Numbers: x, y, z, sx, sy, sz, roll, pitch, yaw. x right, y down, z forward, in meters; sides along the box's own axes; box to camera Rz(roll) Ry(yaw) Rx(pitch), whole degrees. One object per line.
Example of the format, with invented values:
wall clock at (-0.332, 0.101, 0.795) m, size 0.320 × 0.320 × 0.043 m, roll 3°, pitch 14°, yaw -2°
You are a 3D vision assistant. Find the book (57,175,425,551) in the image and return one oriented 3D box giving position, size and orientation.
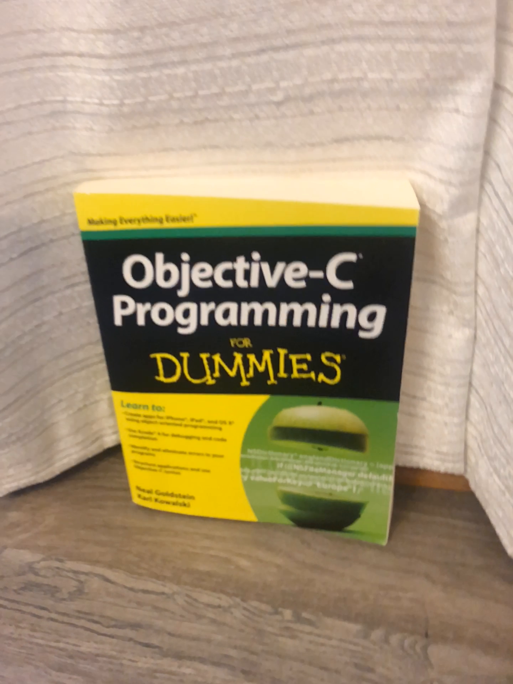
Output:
book at (-0.003, 0.020, 0.346) m, size 0.183 × 0.229 × 0.033 m, roll 4°, pitch 30°, yaw 13°
